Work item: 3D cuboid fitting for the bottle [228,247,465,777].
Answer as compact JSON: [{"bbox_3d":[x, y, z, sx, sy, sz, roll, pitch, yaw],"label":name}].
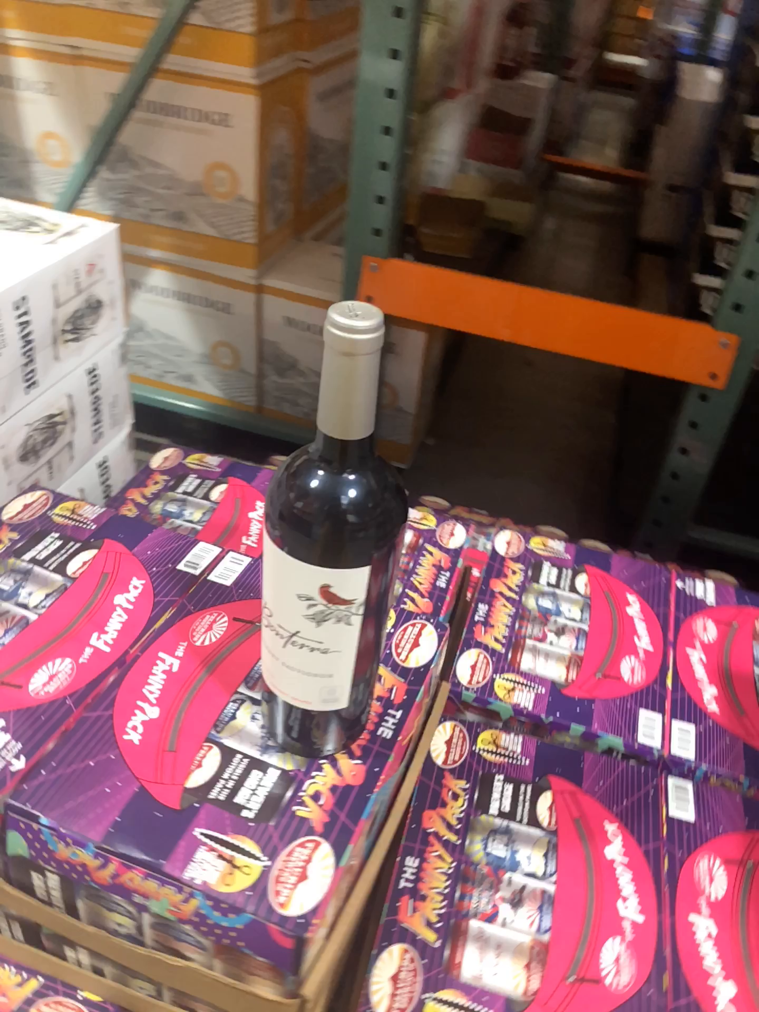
[{"bbox_3d":[-0.029,0.017,0.484,0.080,0.298,0.080,5,36,-3],"label":"bottle"}]
